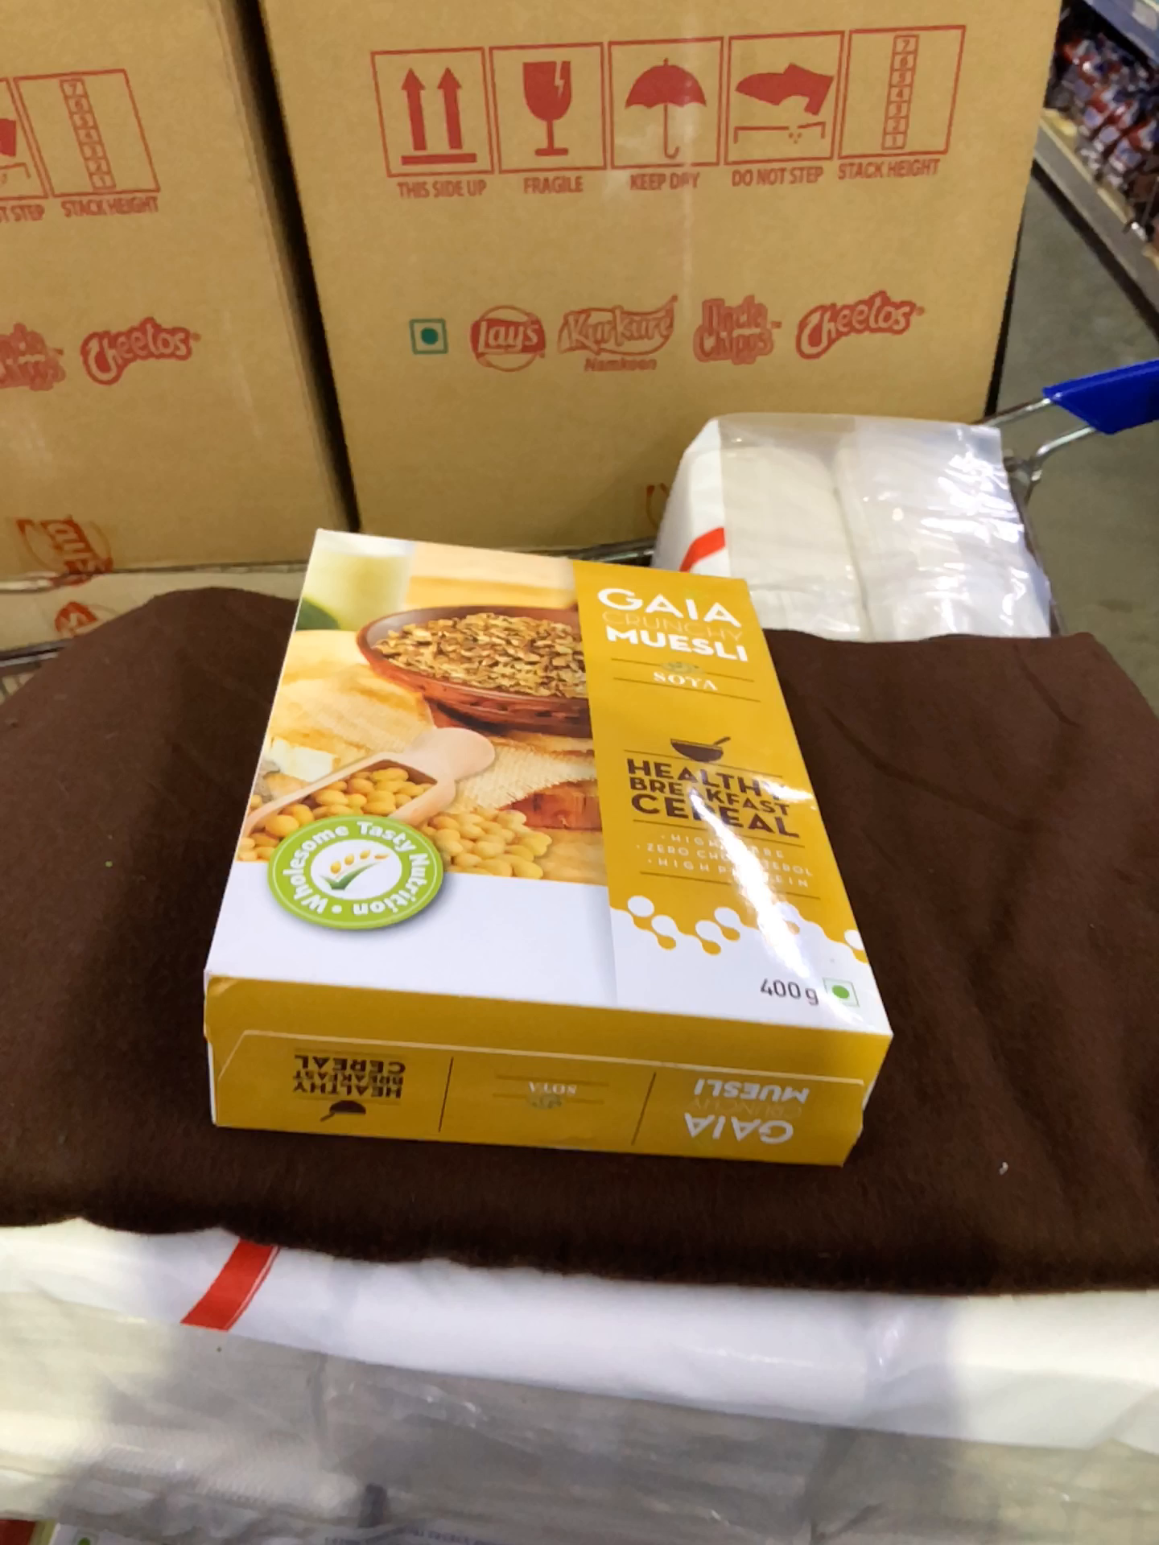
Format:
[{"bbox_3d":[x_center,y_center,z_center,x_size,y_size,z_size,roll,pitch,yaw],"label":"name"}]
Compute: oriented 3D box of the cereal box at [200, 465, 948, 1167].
[{"bbox_3d":[-0.008,-0.004,0.402,0.170,0.060,0.242,5,39,-8],"label":"cereal box"}]
